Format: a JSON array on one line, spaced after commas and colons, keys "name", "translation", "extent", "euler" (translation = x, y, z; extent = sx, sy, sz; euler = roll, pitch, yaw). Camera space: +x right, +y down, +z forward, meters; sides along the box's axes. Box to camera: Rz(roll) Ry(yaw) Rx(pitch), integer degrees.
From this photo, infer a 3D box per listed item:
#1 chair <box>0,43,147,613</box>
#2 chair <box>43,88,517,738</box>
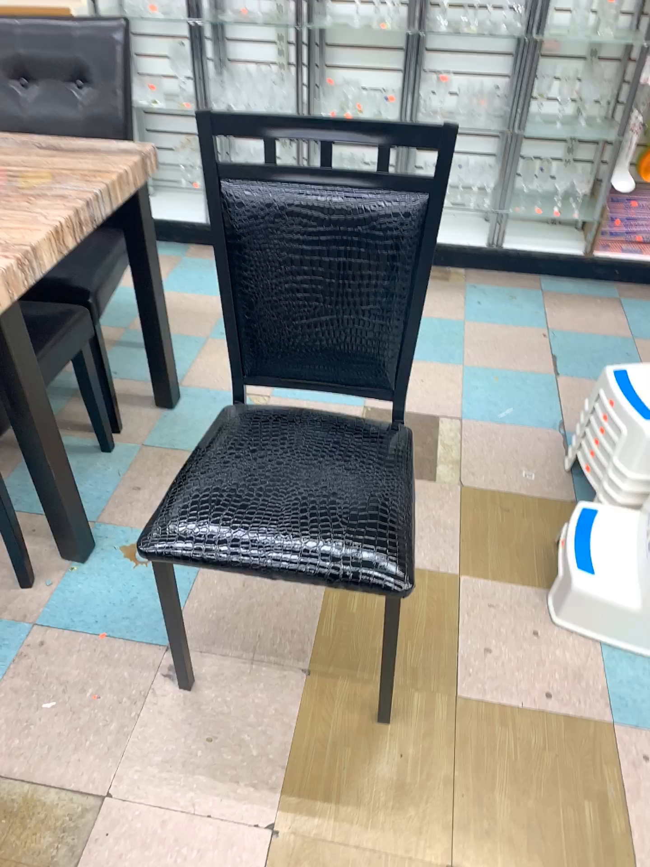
[{"name": "chair", "translation": [-0.793, -0.192, 1.334], "extent": [0.531, 0.923, 0.597], "euler": [6, 41, 6]}, {"name": "chair", "translation": [-0.011, 0.009, 1.119], "extent": [0.461, 0.943, 0.507], "euler": [7, 41, 8]}]
